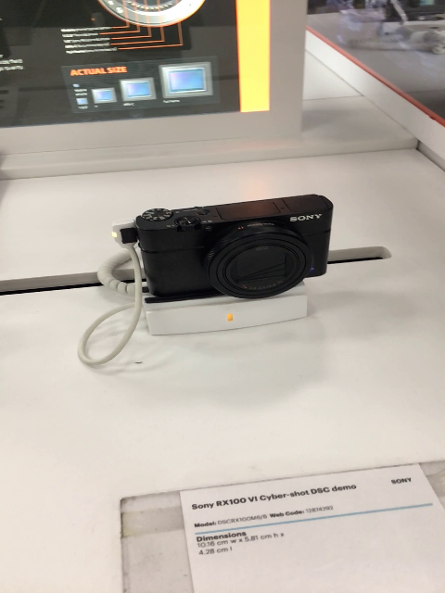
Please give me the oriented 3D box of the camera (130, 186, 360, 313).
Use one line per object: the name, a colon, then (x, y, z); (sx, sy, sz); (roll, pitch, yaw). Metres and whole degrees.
camera: (0.012, -0.030, 0.365); (0.126, 0.059, 0.042); (-6, 42, -5)
